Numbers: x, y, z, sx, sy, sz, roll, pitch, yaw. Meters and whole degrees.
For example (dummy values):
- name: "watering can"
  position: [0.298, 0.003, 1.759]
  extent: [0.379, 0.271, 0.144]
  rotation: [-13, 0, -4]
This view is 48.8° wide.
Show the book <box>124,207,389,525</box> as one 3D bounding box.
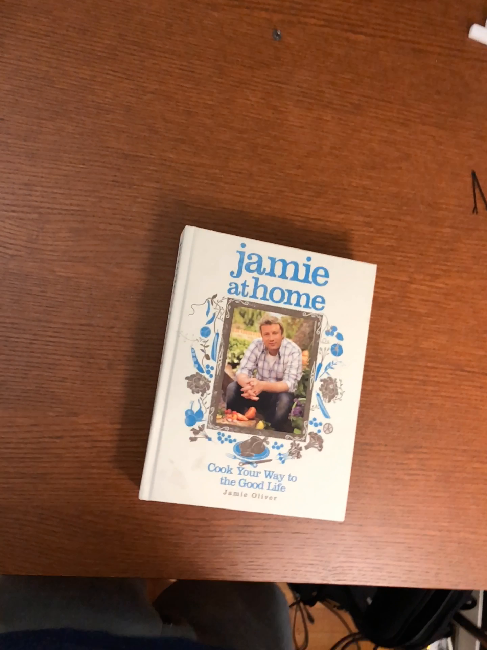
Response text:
- name: "book"
  position: [0.016, 0.040, 0.511]
  extent: [0.210, 0.040, 0.260]
  rotation: [10, 83, -10]
